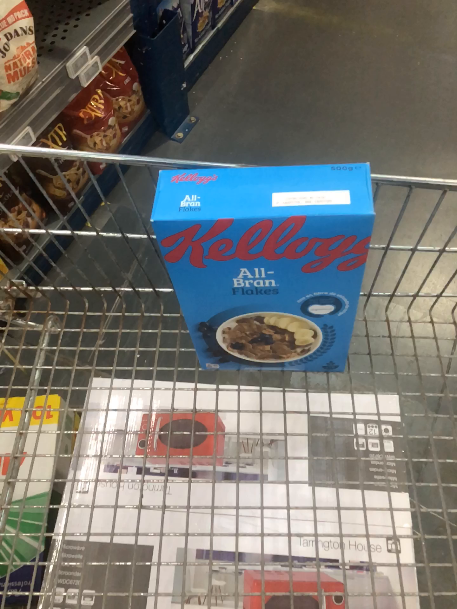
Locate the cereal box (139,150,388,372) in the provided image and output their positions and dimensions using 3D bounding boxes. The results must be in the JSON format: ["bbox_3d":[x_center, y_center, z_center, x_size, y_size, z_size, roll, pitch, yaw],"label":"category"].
[{"bbox_3d":[0.037,-0.025,0.539,0.200,0.269,0.080,-1,56,4],"label":"cereal box"}]
